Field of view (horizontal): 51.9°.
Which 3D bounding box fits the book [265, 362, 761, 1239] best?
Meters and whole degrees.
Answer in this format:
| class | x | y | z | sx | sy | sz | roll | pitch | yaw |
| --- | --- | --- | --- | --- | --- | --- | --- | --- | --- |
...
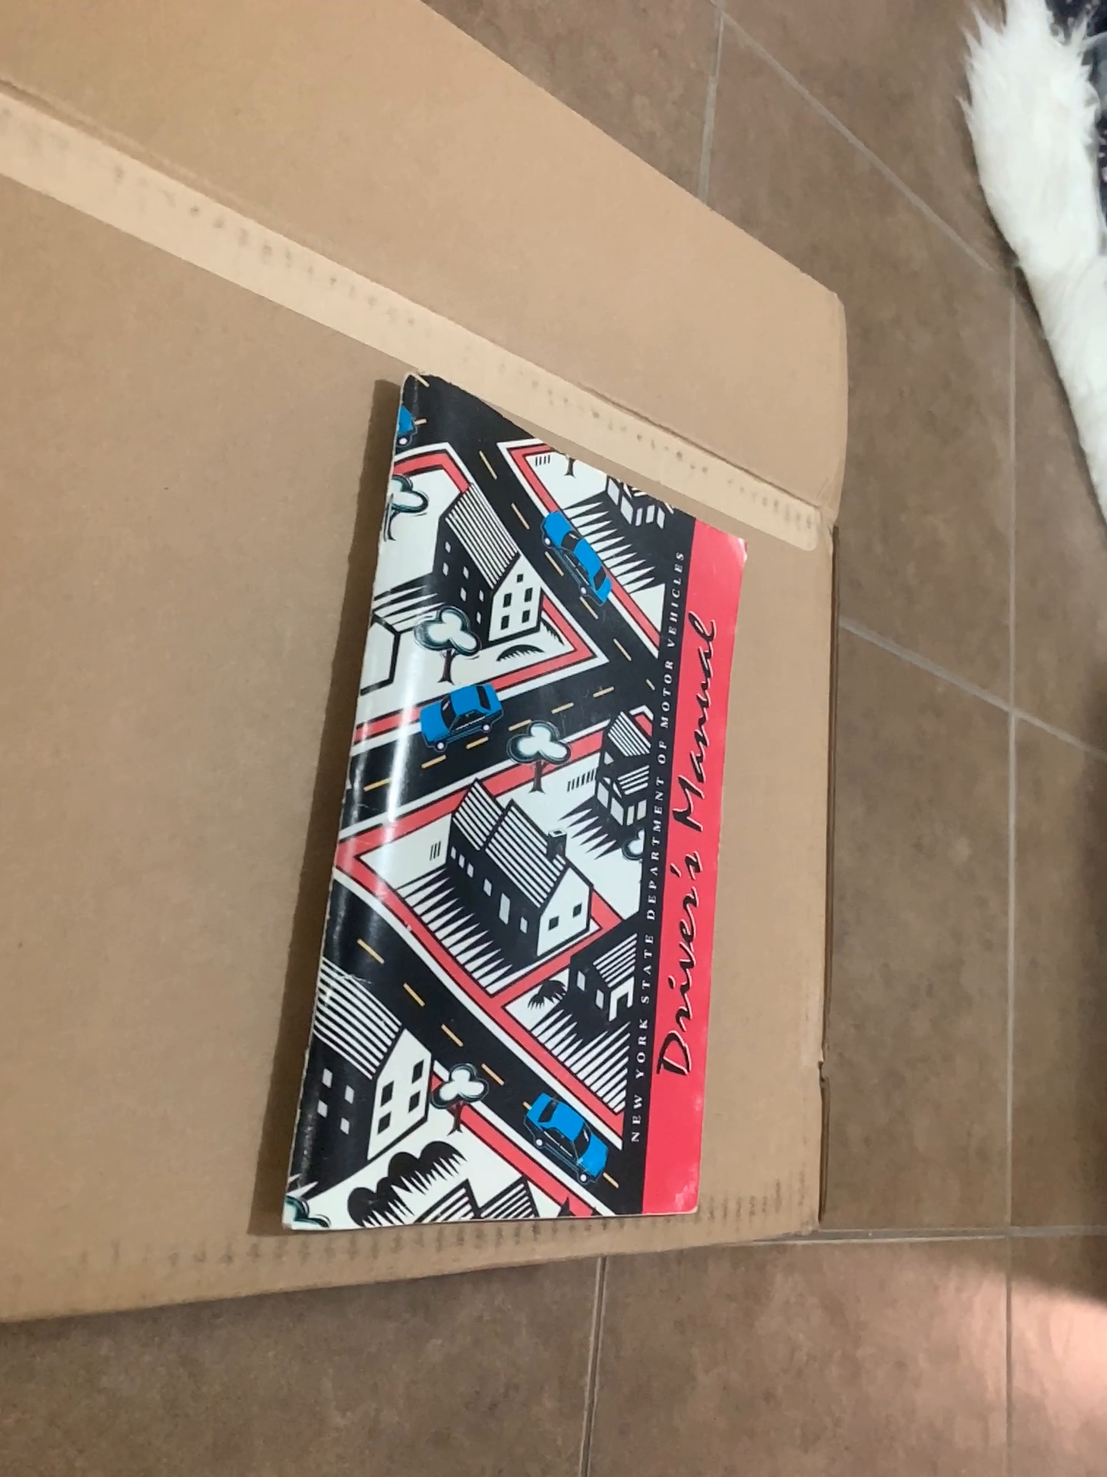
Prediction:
| class | x | y | z | sx | sy | sz | roll | pitch | yaw |
| --- | --- | --- | --- | --- | --- | --- | --- | --- | --- |
| book | 0.002 | 0.021 | 0.308 | 0.134 | 0.013 | 0.207 | 17 | 72 | -38 |
